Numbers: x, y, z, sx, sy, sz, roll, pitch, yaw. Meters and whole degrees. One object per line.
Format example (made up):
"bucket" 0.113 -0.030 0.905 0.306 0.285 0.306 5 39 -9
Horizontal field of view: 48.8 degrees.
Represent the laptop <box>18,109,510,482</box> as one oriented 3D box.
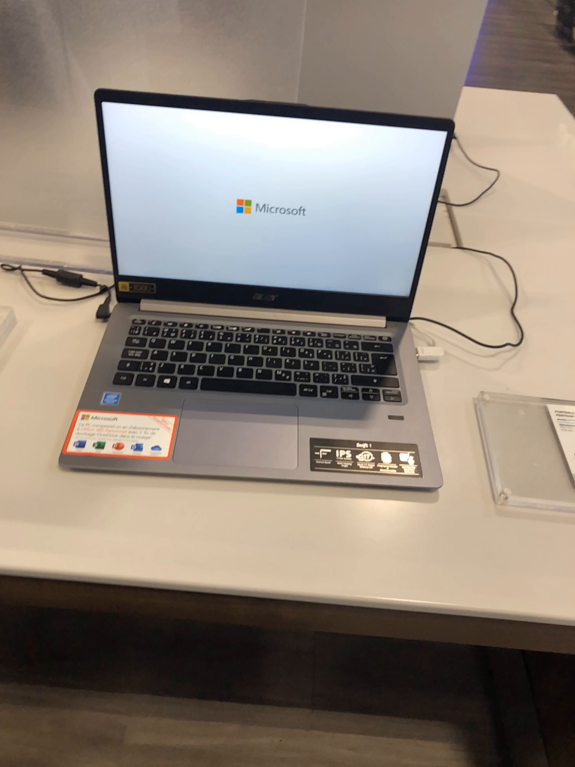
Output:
"laptop" -0.016 -0.077 0.545 0.306 0.205 0.225 4 43 -3
